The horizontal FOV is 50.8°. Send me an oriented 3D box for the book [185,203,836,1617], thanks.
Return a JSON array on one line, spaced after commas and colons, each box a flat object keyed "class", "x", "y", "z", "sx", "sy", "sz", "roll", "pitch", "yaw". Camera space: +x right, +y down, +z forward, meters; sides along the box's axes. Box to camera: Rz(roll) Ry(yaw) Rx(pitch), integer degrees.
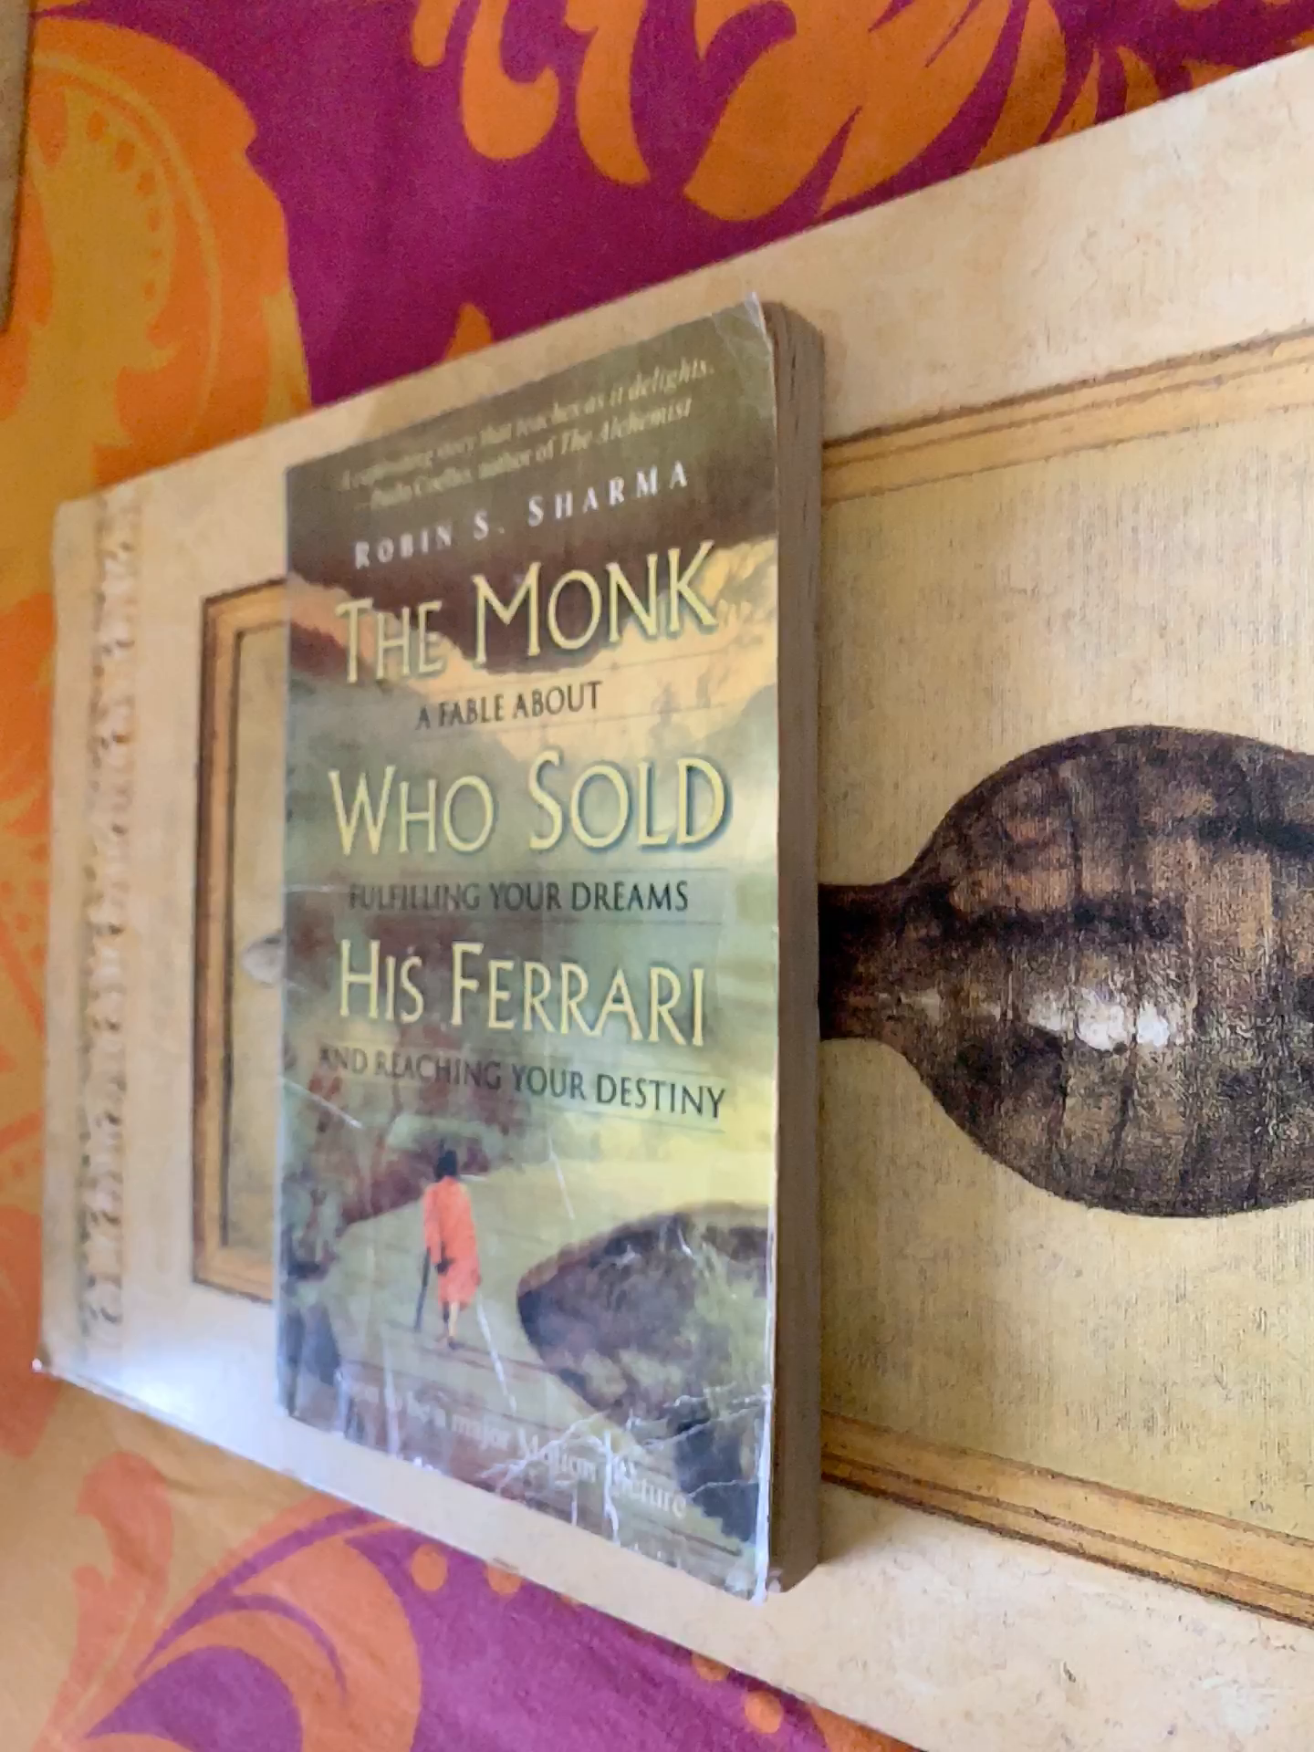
[{"class": "book", "x": -0.033, "y": 0.005, "z": 0.248, "sx": 0.131, "sy": 0.030, "sz": 0.200, "roll": -2, "pitch": 87, "yaw": 38}]
